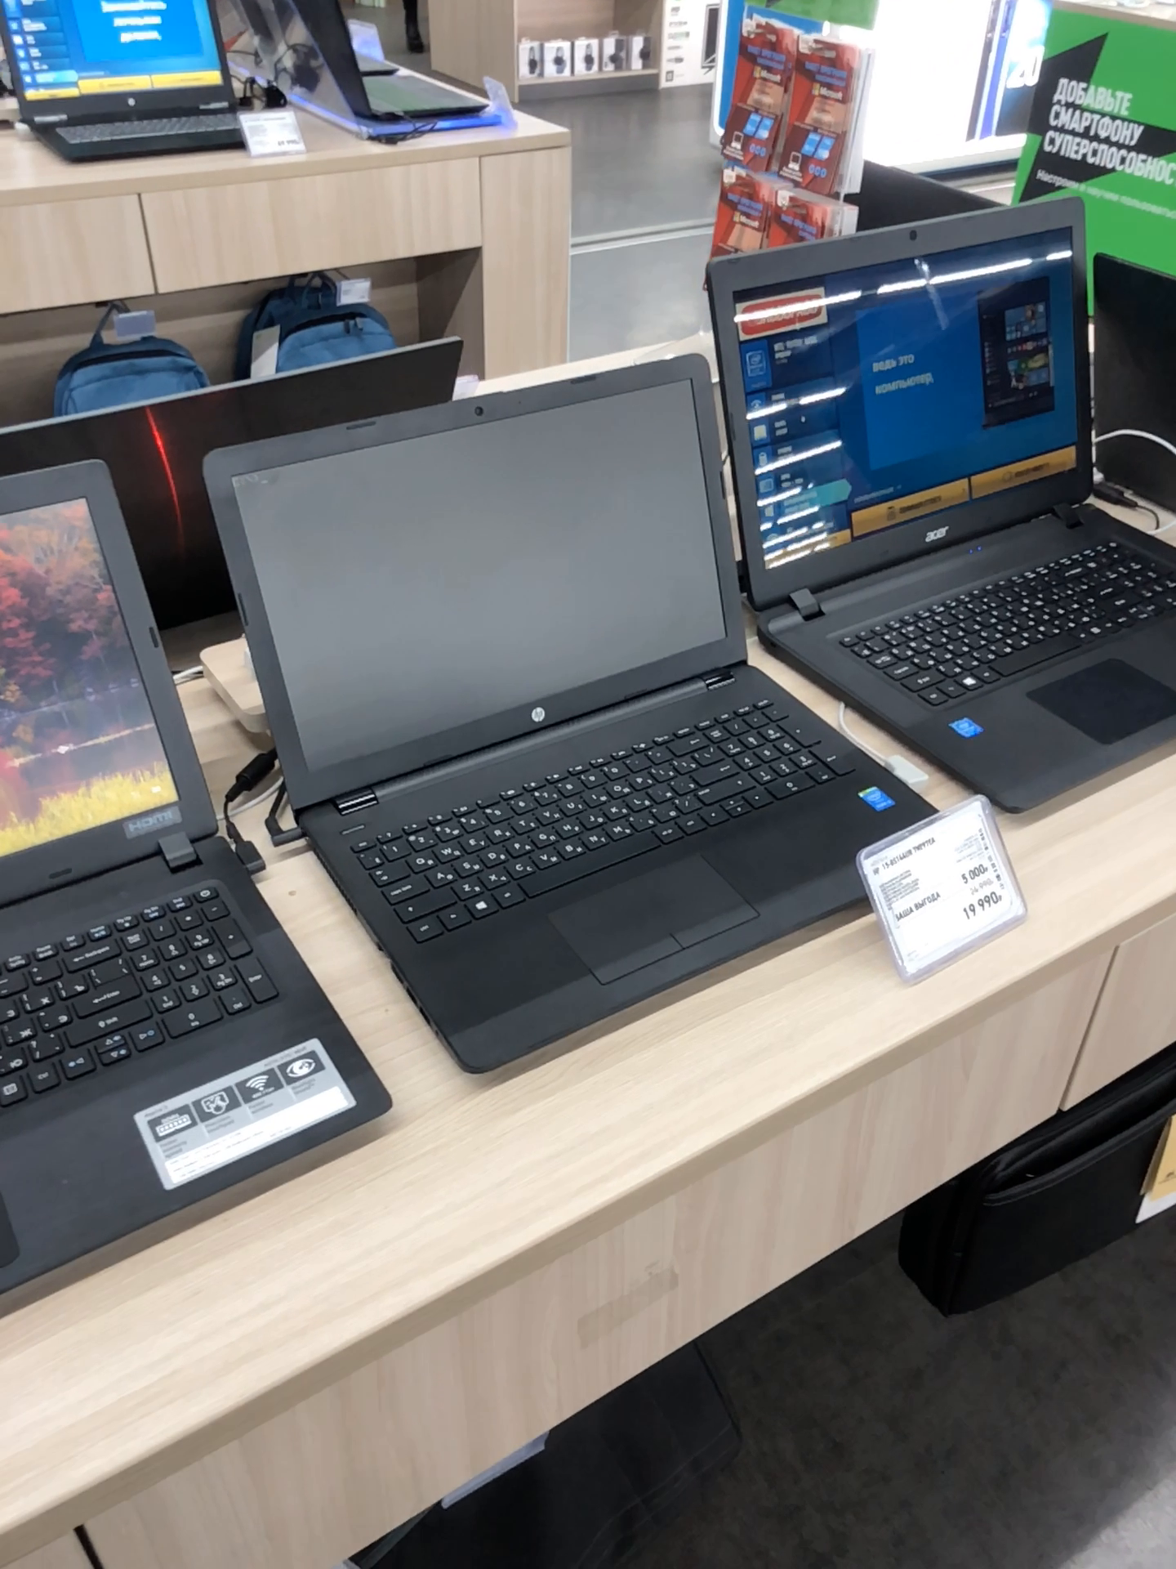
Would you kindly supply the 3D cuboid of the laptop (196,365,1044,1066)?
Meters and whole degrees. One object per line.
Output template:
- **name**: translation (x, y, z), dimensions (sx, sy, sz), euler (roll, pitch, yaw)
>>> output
- **laptop**: translation (0.008, -0.078, 0.837), dimensions (0.377, 0.215, 0.335), euler (-21, 44, -26)

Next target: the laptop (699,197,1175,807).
- **laptop**: translation (0.367, -0.260, 1.035), dimensions (0.397, 0.267, 0.396), euler (-20, 42, -24)

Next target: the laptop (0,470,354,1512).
- **laptop**: translation (-0.354, 0.047, 0.654), dimensions (0.360, 0.226, 0.351), euler (-20, 42, -27)
